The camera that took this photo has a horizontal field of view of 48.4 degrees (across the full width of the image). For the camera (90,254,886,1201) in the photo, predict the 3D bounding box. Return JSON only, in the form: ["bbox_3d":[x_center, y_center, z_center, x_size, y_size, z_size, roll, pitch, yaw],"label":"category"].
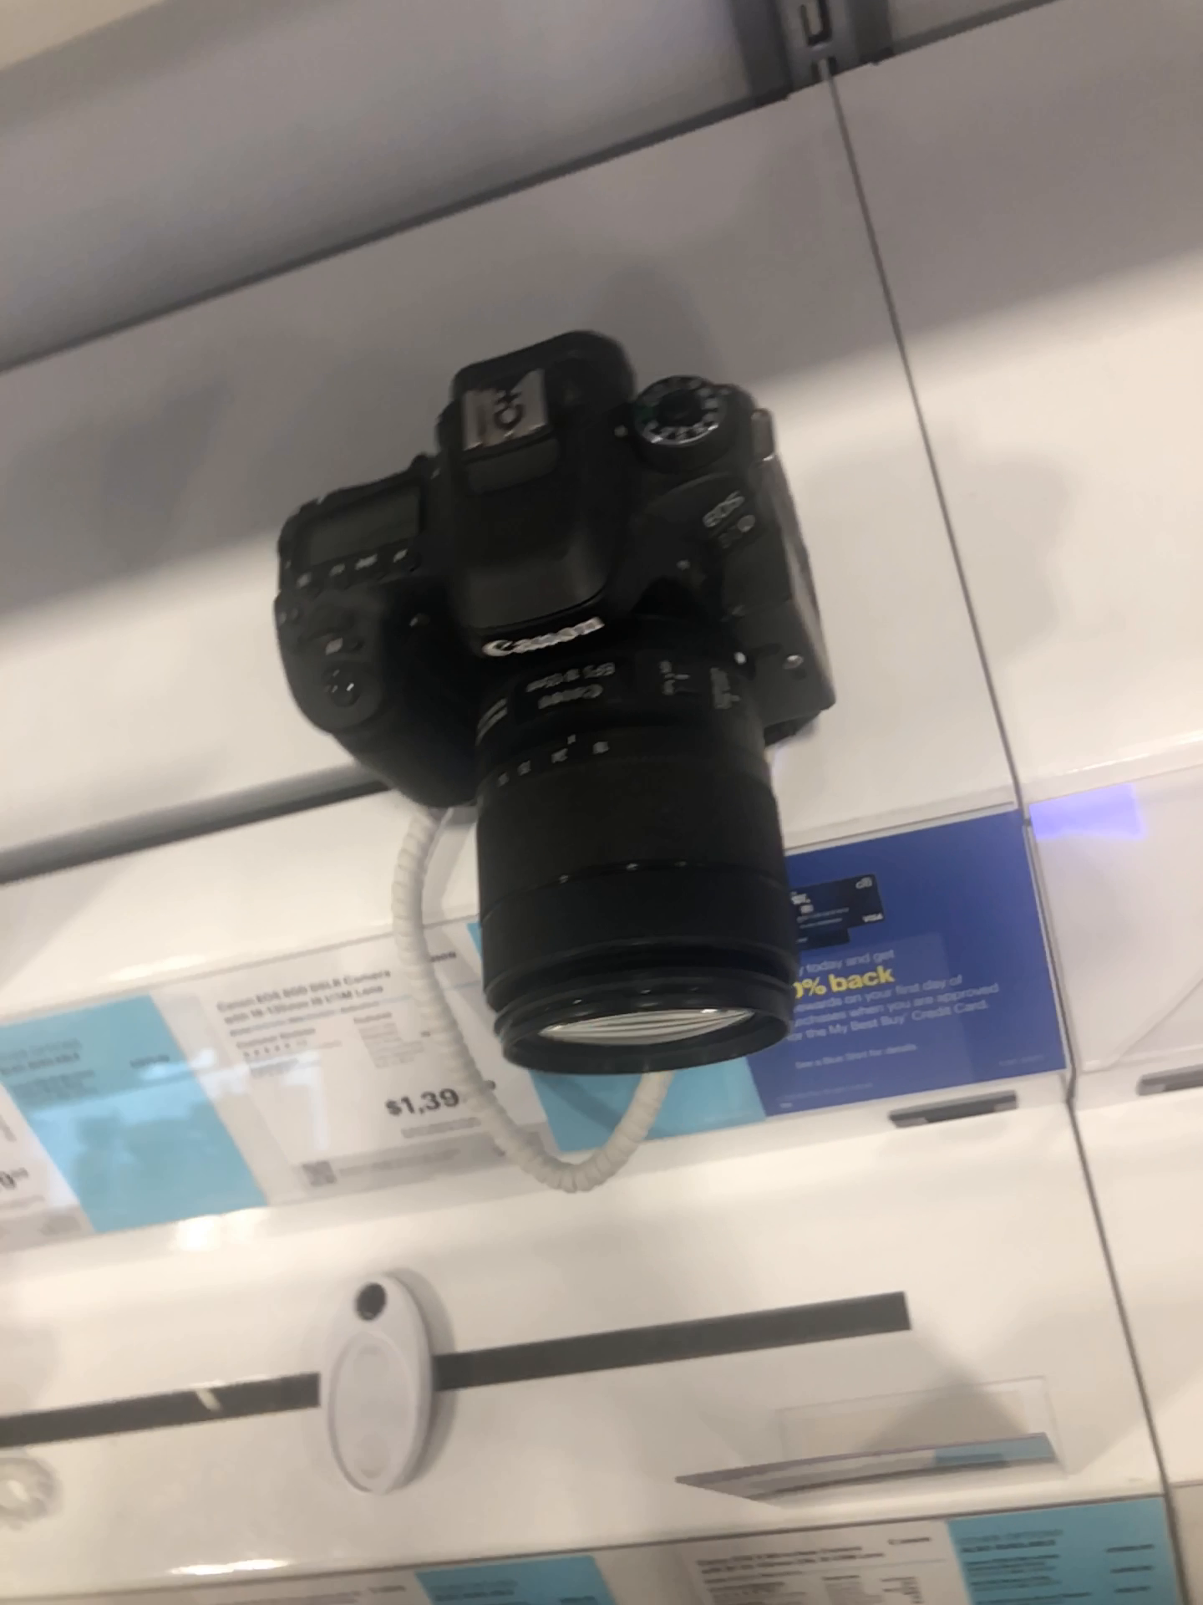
[{"bbox_3d":[-0.028,-0.008,0.339,0.150,0.110,0.180,-14,66,14],"label":"camera"}]
